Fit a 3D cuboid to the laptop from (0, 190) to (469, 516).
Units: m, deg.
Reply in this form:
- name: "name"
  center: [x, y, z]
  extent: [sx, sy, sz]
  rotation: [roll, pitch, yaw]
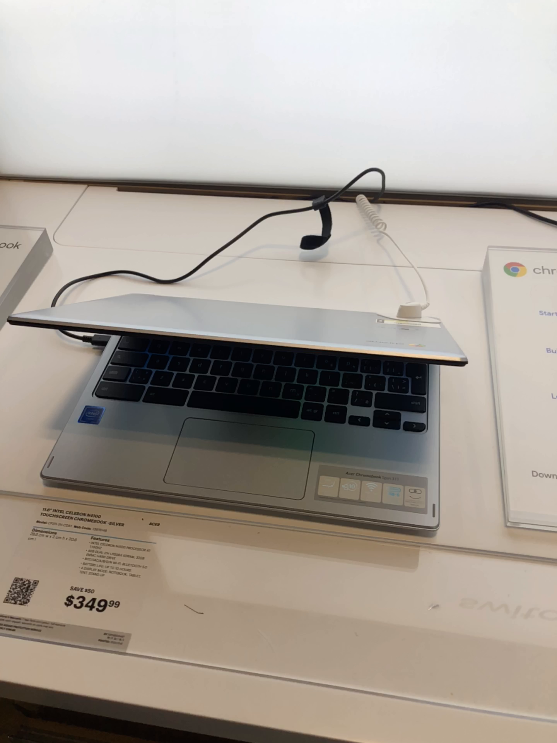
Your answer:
- name: "laptop"
  center: [-0.015, -0.025, 0.463]
  extent: [0.279, 0.123, 0.192]
  rotation: [5, 47, 8]
